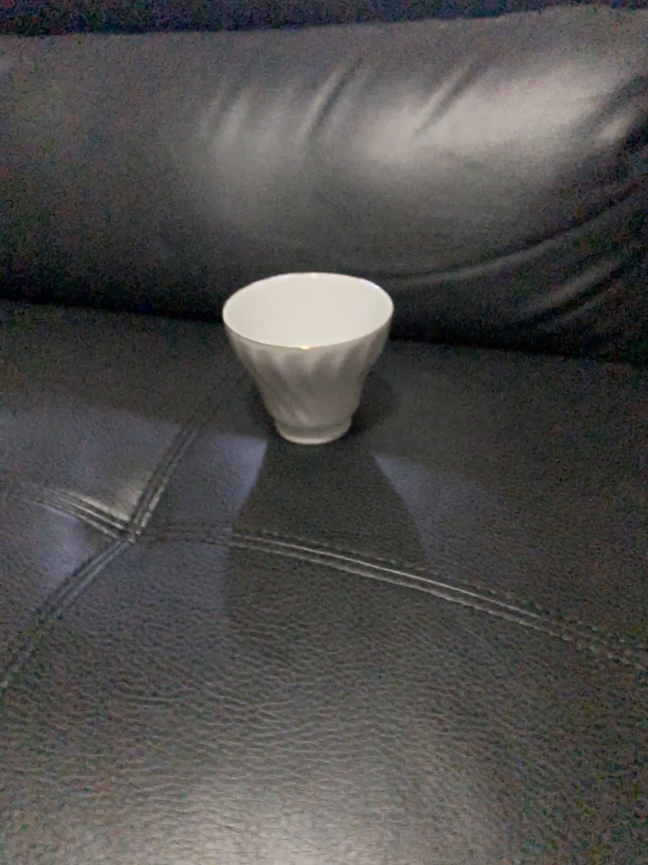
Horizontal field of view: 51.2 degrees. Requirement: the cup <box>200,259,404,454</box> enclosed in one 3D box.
[{"bbox_3d":[-0.007,-0.047,0.371,0.093,0.059,0.115,2,33,3],"label":"cup"}]
